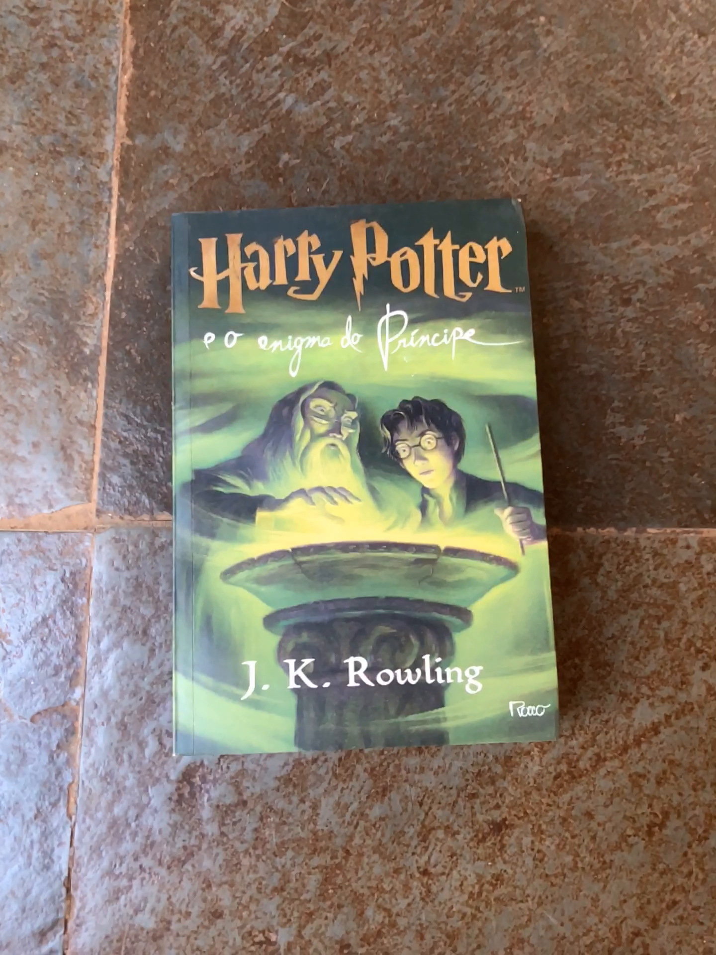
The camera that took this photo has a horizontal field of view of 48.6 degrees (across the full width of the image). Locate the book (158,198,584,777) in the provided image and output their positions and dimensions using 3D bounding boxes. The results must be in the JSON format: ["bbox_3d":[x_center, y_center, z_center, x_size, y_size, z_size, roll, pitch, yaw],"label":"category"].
[{"bbox_3d":[0.002,0.000,0.292,0.142,0.030,0.200,-2,83,-1],"label":"book"}]
